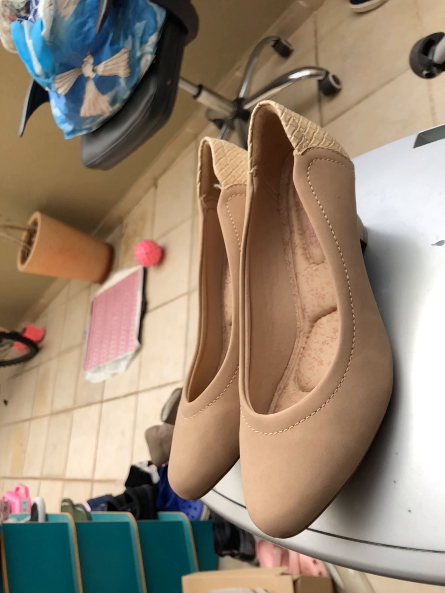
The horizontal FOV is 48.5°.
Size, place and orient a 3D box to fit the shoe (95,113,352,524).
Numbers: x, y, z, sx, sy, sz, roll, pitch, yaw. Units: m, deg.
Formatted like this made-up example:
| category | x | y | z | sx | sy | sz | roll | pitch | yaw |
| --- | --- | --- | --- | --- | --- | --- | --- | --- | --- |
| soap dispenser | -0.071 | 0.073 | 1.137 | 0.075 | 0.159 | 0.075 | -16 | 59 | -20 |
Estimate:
| category | x | y | z | sx | sy | sz | roll | pitch | yaw |
| --- | --- | --- | --- | --- | --- | --- | --- | --- | --- |
| shoe | 0.006 | 0.020 | 0.357 | 0.091 | 0.119 | 0.244 | -7 | 71 | 54 |

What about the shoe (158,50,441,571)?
| category | x | y | z | sx | sy | sz | roll | pitch | yaw |
| --- | --- | --- | --- | --- | --- | --- | --- | --- | --- |
| shoe | 0.053 | 0.010 | 0.293 | 0.090 | 0.119 | 0.244 | -14 | 65 | 52 |
